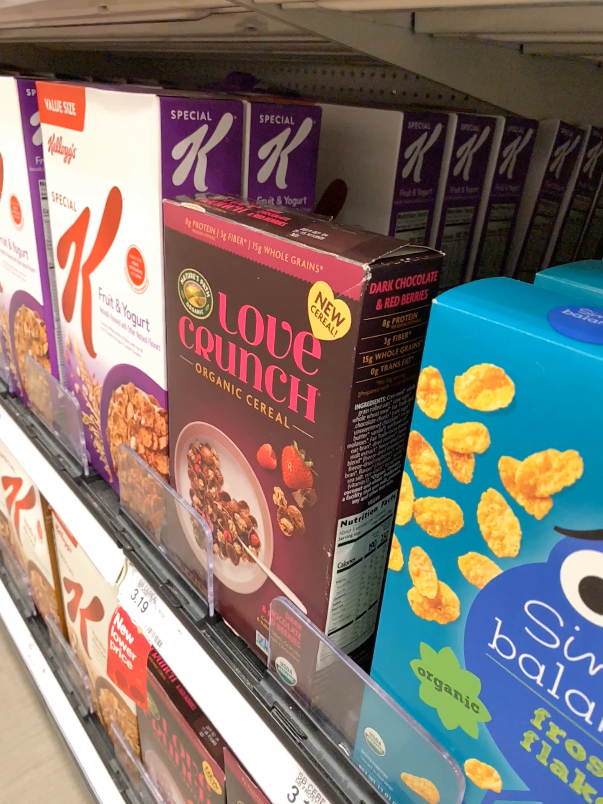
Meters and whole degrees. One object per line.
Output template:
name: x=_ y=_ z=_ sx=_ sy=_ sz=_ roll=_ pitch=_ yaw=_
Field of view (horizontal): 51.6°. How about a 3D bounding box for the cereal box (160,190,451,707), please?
cereal box: x=-0.016 y=0.021 z=0.360 sx=0.050 sy=0.249 sz=0.160 roll=-17 pitch=34 yaw=-38
